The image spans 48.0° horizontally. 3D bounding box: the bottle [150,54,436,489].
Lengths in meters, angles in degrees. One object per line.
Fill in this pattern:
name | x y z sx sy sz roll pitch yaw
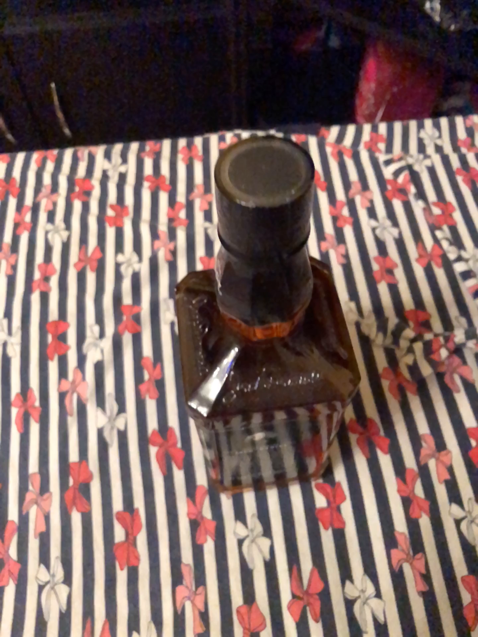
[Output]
bottle | 0.014 0.011 0.265 0.073 0.246 0.075 -1 58 1
